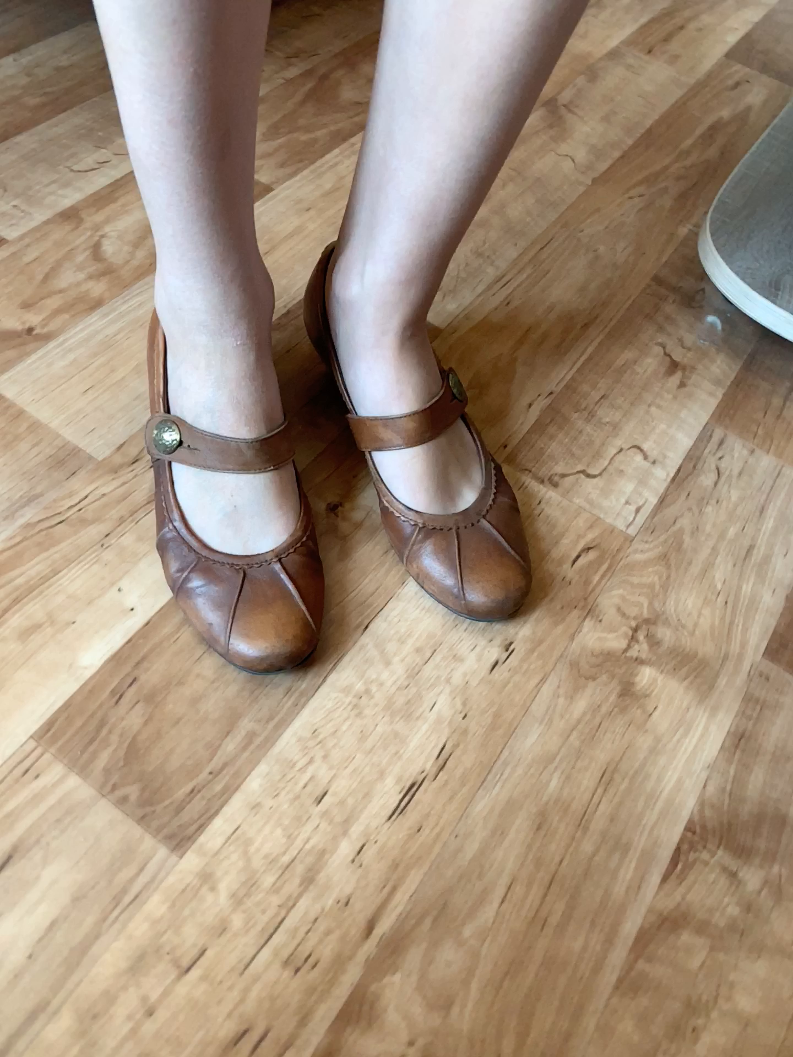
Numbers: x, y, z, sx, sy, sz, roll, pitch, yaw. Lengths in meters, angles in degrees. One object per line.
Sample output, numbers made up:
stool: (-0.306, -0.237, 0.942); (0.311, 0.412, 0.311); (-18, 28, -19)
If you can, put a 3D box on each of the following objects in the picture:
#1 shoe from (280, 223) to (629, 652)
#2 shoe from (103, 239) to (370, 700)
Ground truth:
shoe: (0.019, -0.065, 0.497); (0.090, 0.090, 0.250); (-19, 61, -20)
shoe: (-0.099, -0.044, 0.464); (0.090, 0.090, 0.251); (-11, 59, -16)
